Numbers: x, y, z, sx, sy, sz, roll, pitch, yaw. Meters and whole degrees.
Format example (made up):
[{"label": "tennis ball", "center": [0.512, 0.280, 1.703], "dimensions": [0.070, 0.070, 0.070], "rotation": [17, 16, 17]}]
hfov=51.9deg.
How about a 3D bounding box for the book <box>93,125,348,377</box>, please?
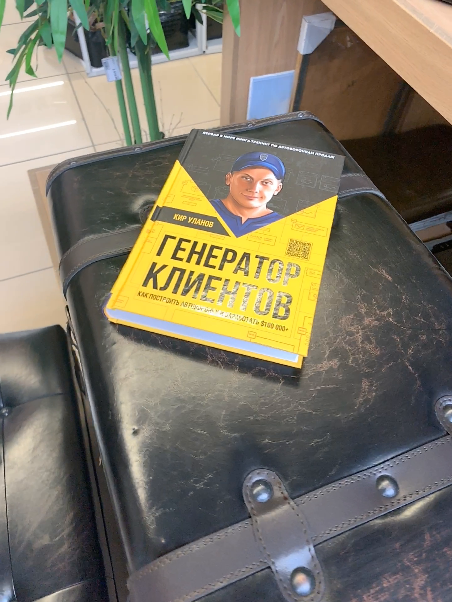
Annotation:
[{"label": "book", "center": [0.011, -0.064, 0.423], "dimensions": [0.167, 0.030, 0.243], "rotation": [13, 55, 8]}]
